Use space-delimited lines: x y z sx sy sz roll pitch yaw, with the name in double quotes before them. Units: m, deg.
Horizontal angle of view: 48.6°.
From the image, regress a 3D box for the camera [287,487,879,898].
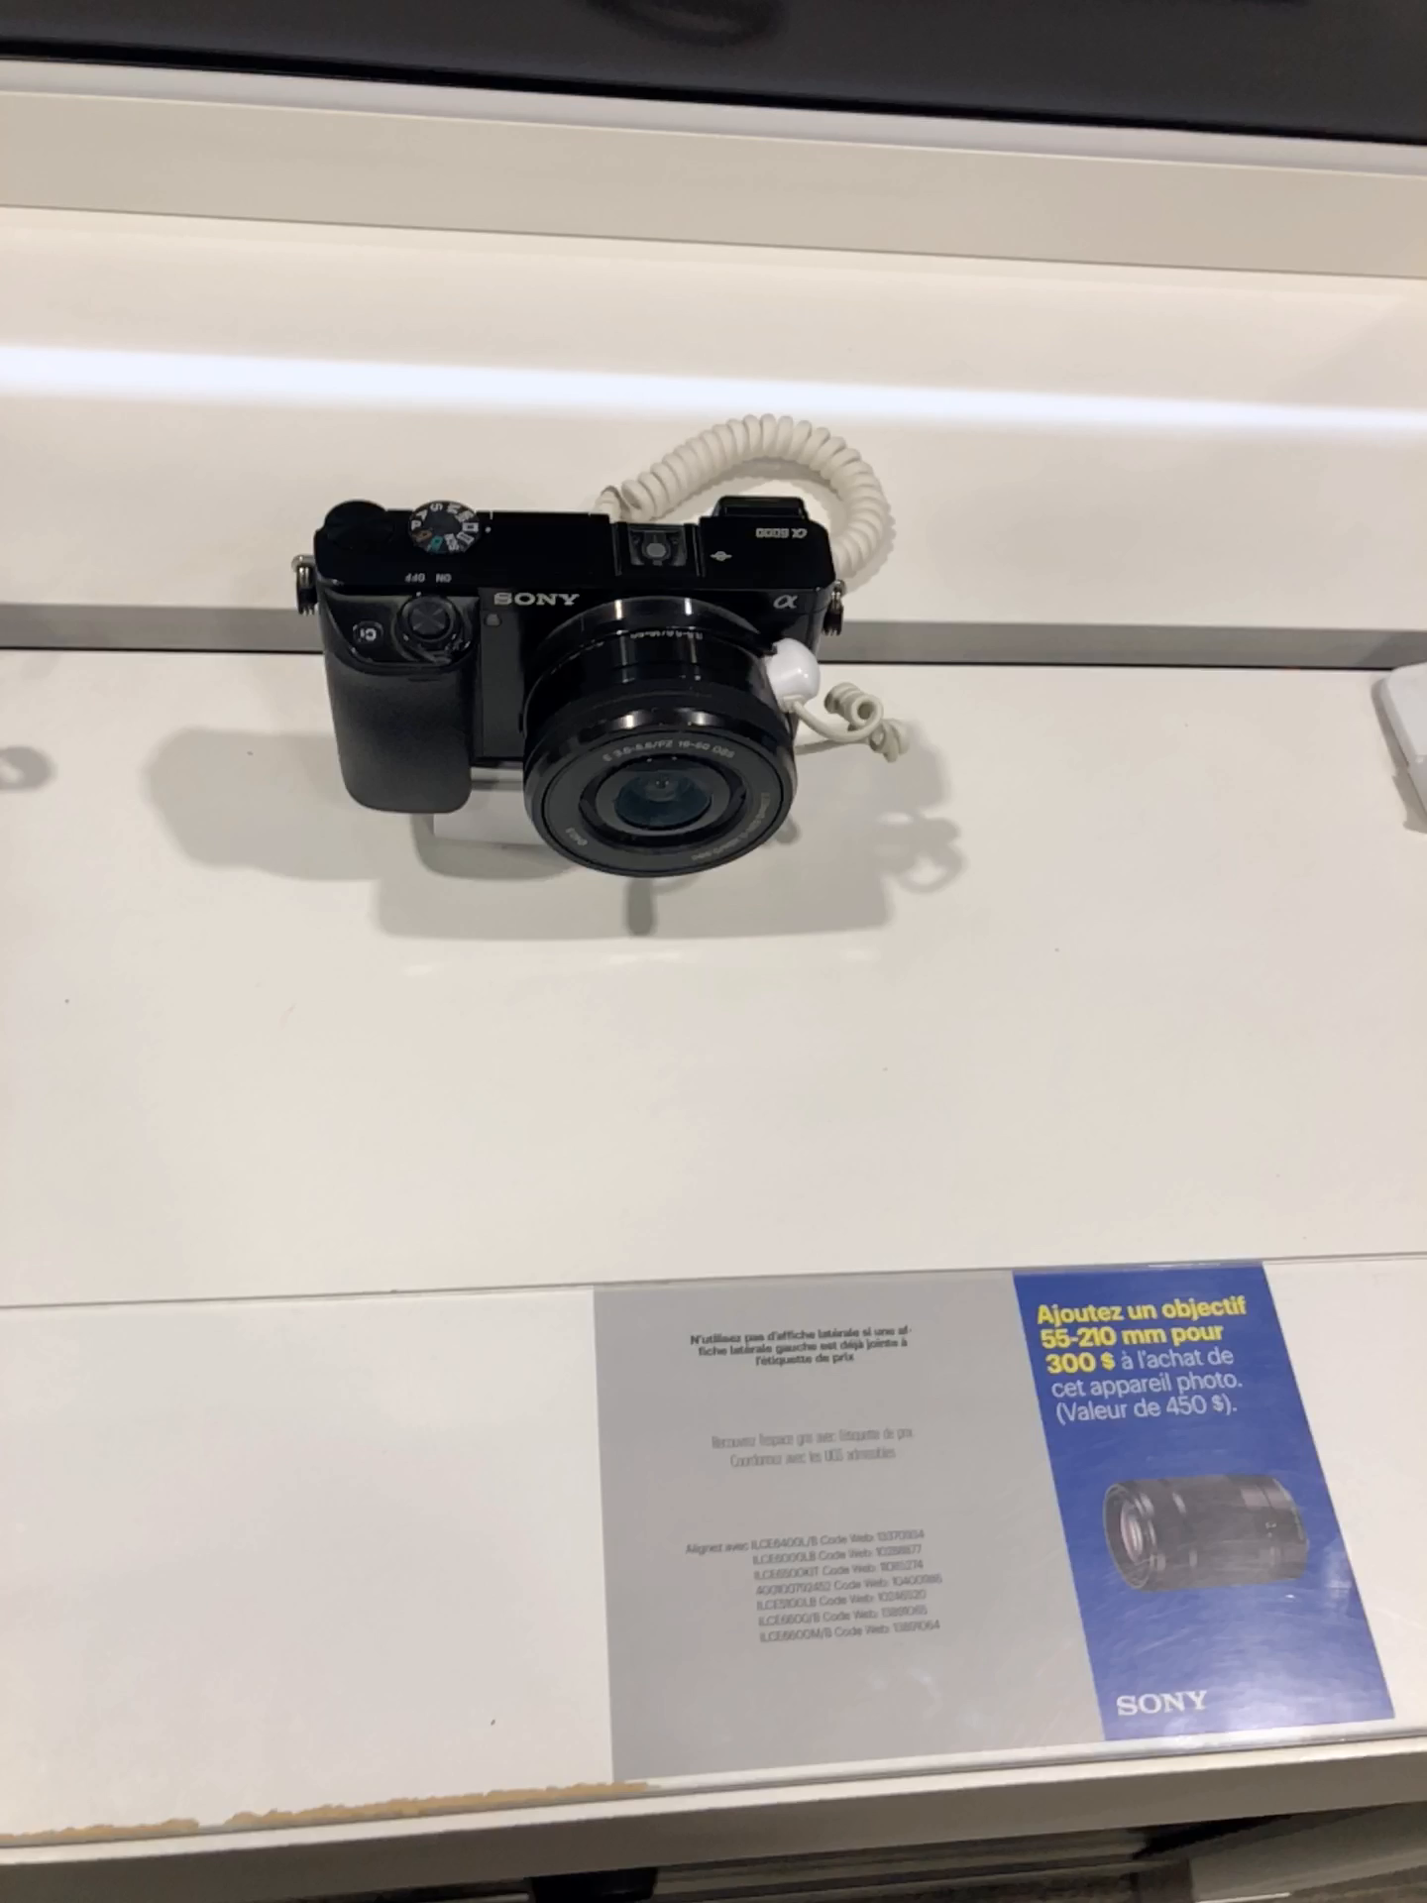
"camera" -0.034 -0.064 0.398 0.130 0.077 0.065 -2 57 -8
